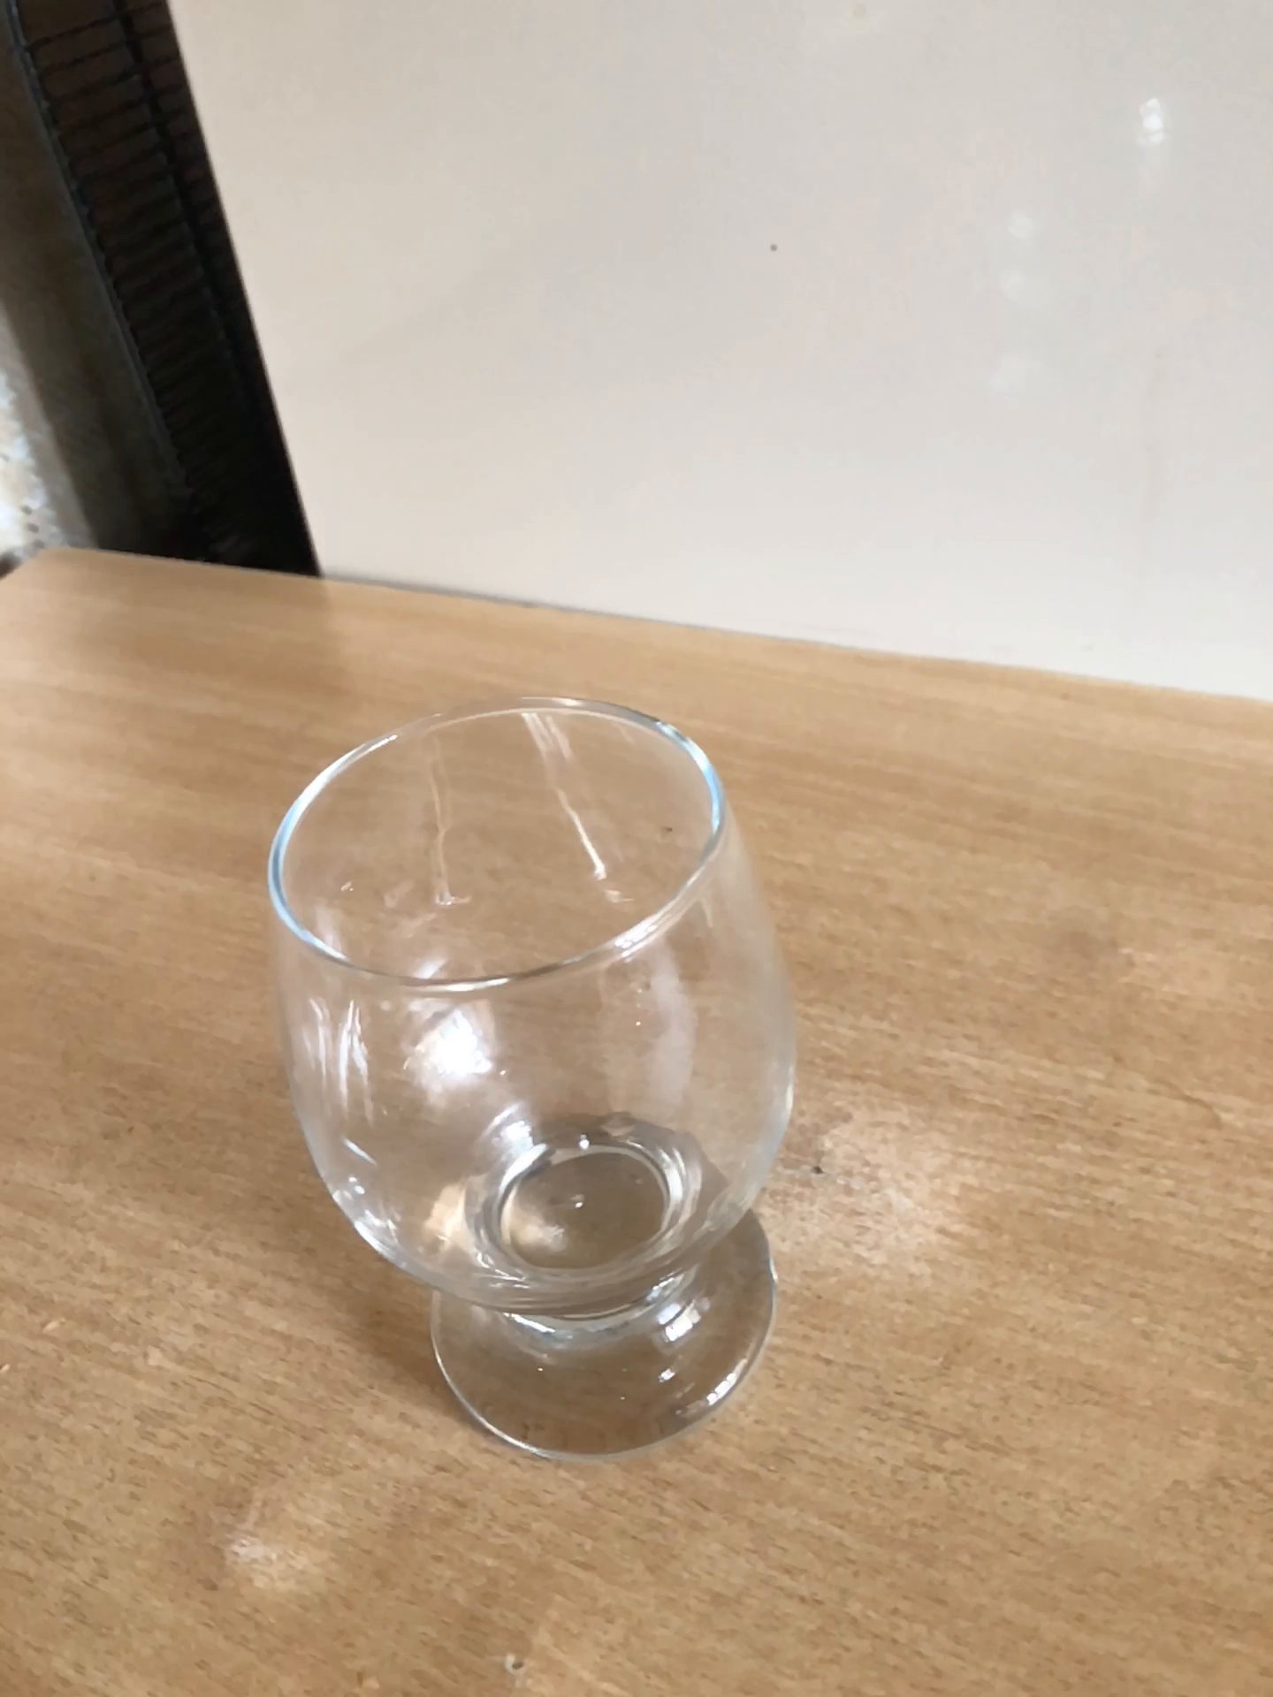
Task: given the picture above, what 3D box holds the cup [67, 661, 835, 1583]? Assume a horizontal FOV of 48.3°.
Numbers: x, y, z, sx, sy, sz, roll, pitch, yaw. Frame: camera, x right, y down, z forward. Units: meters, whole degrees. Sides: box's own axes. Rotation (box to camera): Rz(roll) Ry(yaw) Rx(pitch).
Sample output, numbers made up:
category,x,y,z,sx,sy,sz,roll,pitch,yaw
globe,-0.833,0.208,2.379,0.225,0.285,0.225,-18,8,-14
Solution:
category,x,y,z,sx,sy,sz,roll,pitch,yaw
cup,-0.016,0.040,0.220,0.074,0.105,0.077,-5,38,4
